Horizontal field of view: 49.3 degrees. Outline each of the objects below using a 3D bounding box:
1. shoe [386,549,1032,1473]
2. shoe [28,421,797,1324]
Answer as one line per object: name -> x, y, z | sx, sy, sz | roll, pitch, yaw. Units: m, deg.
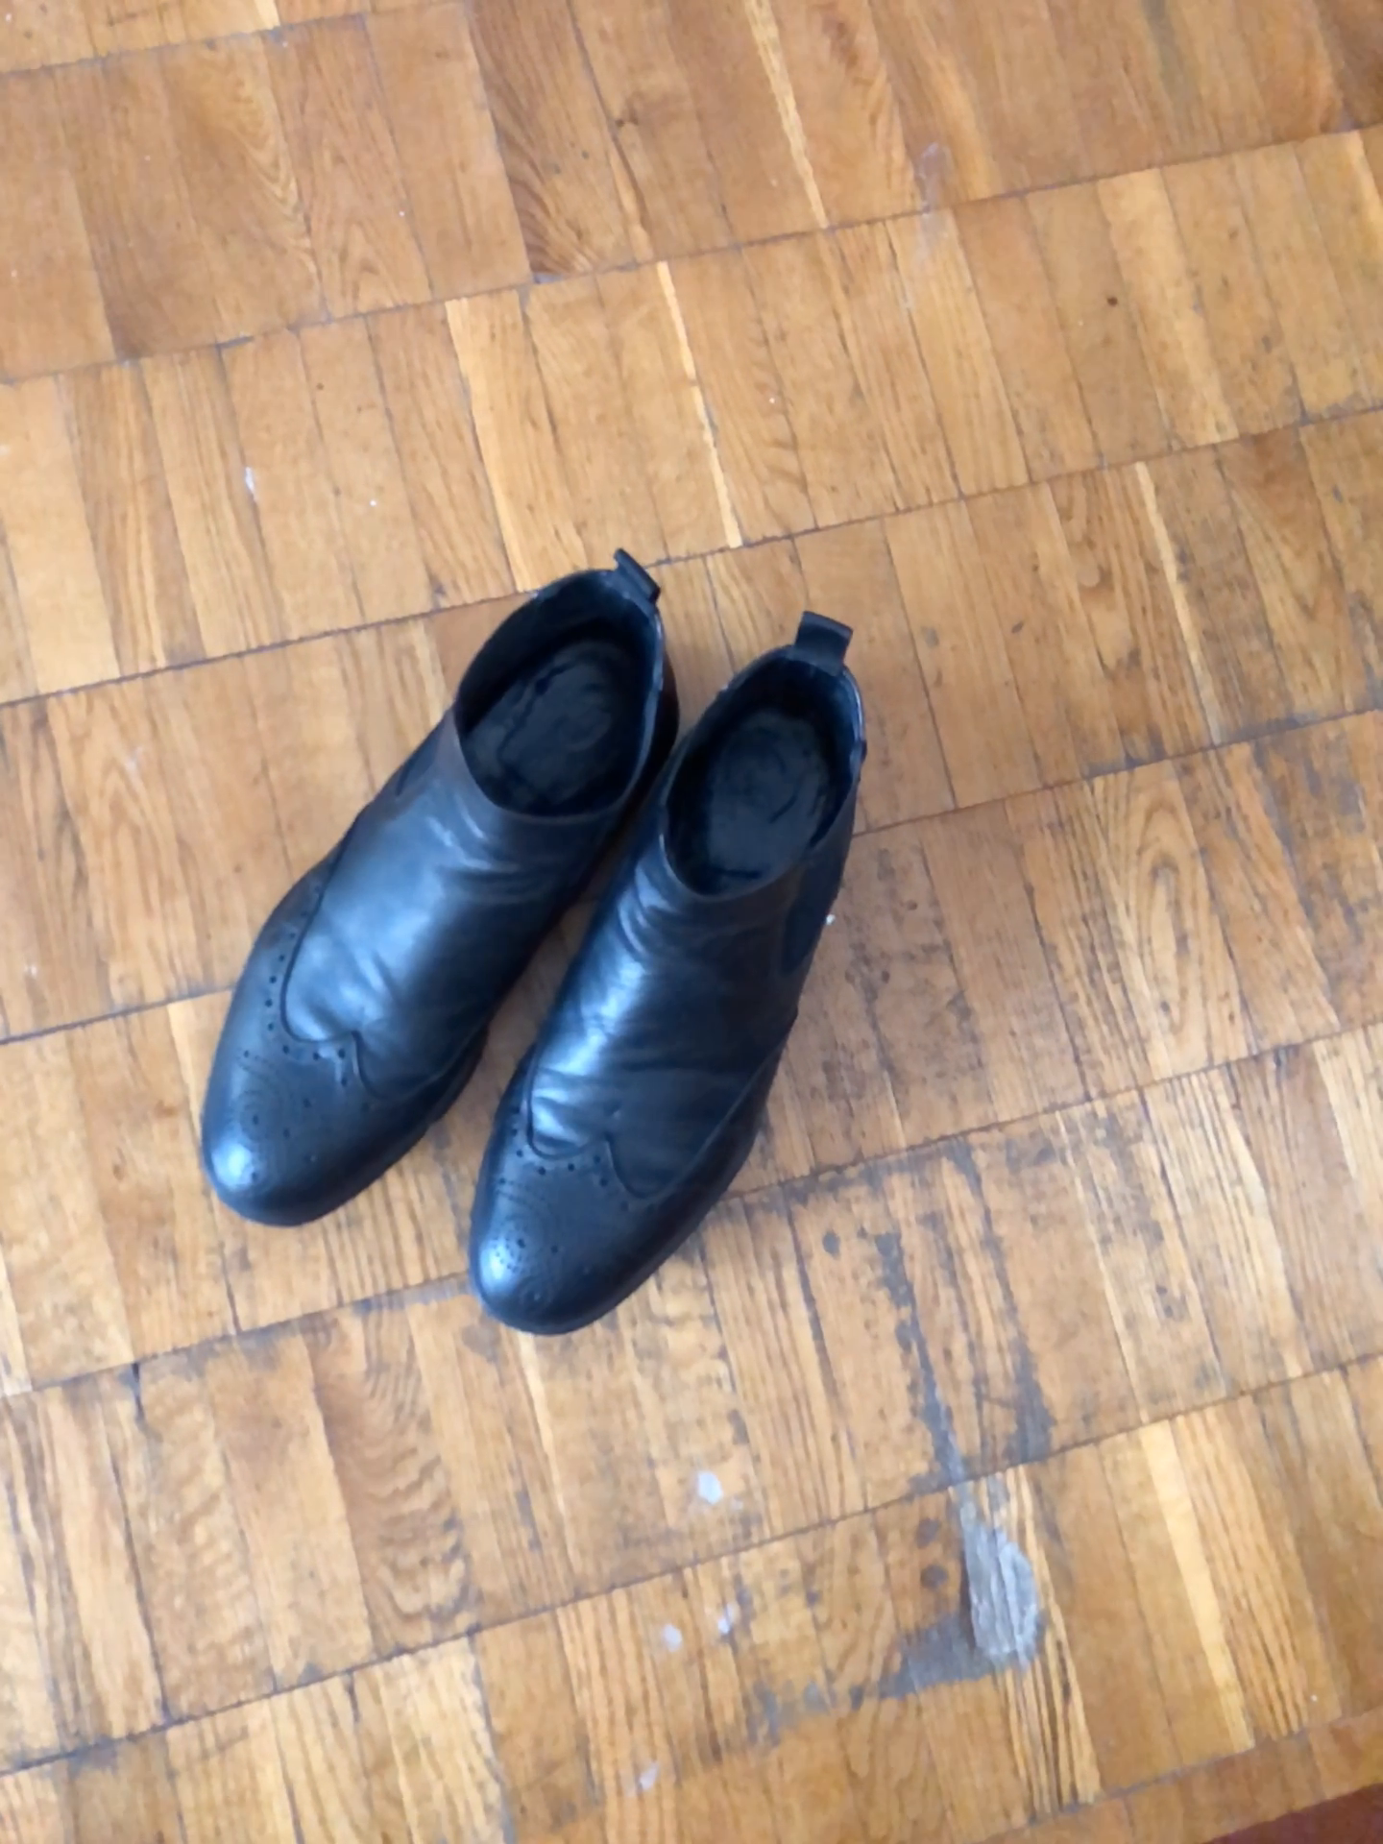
shoe -> 0.004, 0.032, 0.589 | 0.110, 0.140, 0.300 | 25, 81, -3
shoe -> -0.096, -0.015, 0.583 | 0.110, 0.140, 0.300 | 33, 81, -1
